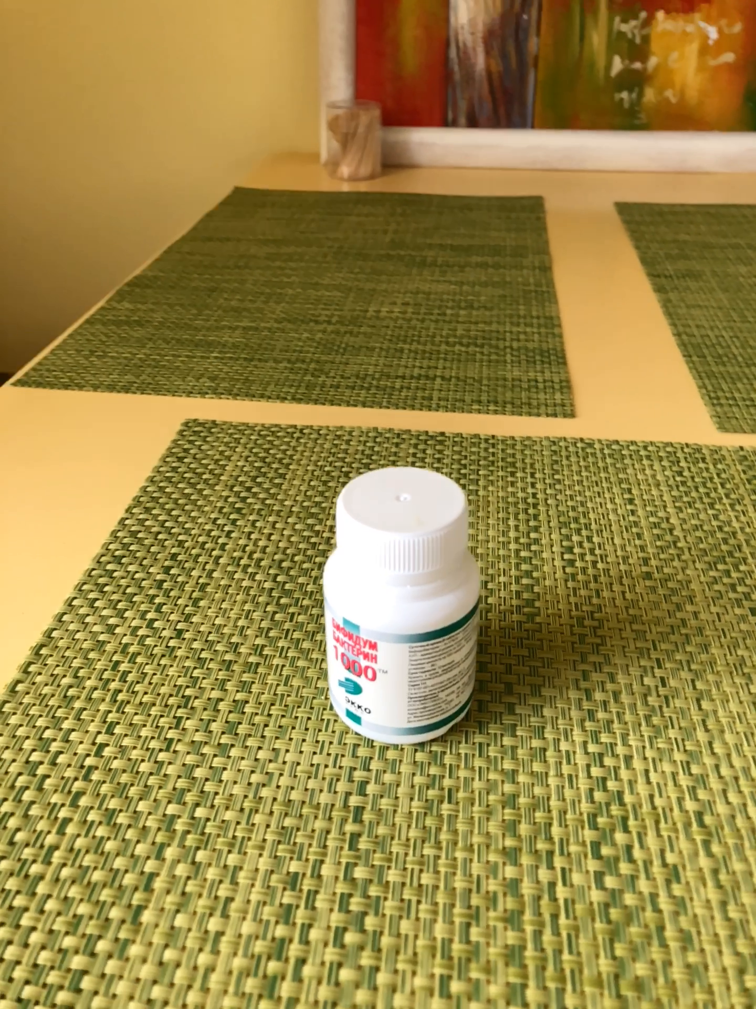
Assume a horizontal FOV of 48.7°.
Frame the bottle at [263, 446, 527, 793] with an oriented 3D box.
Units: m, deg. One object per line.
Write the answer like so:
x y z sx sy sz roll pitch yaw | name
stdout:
0.005 0.031 0.242 0.050 0.070 0.050 0 33 0 | bottle
